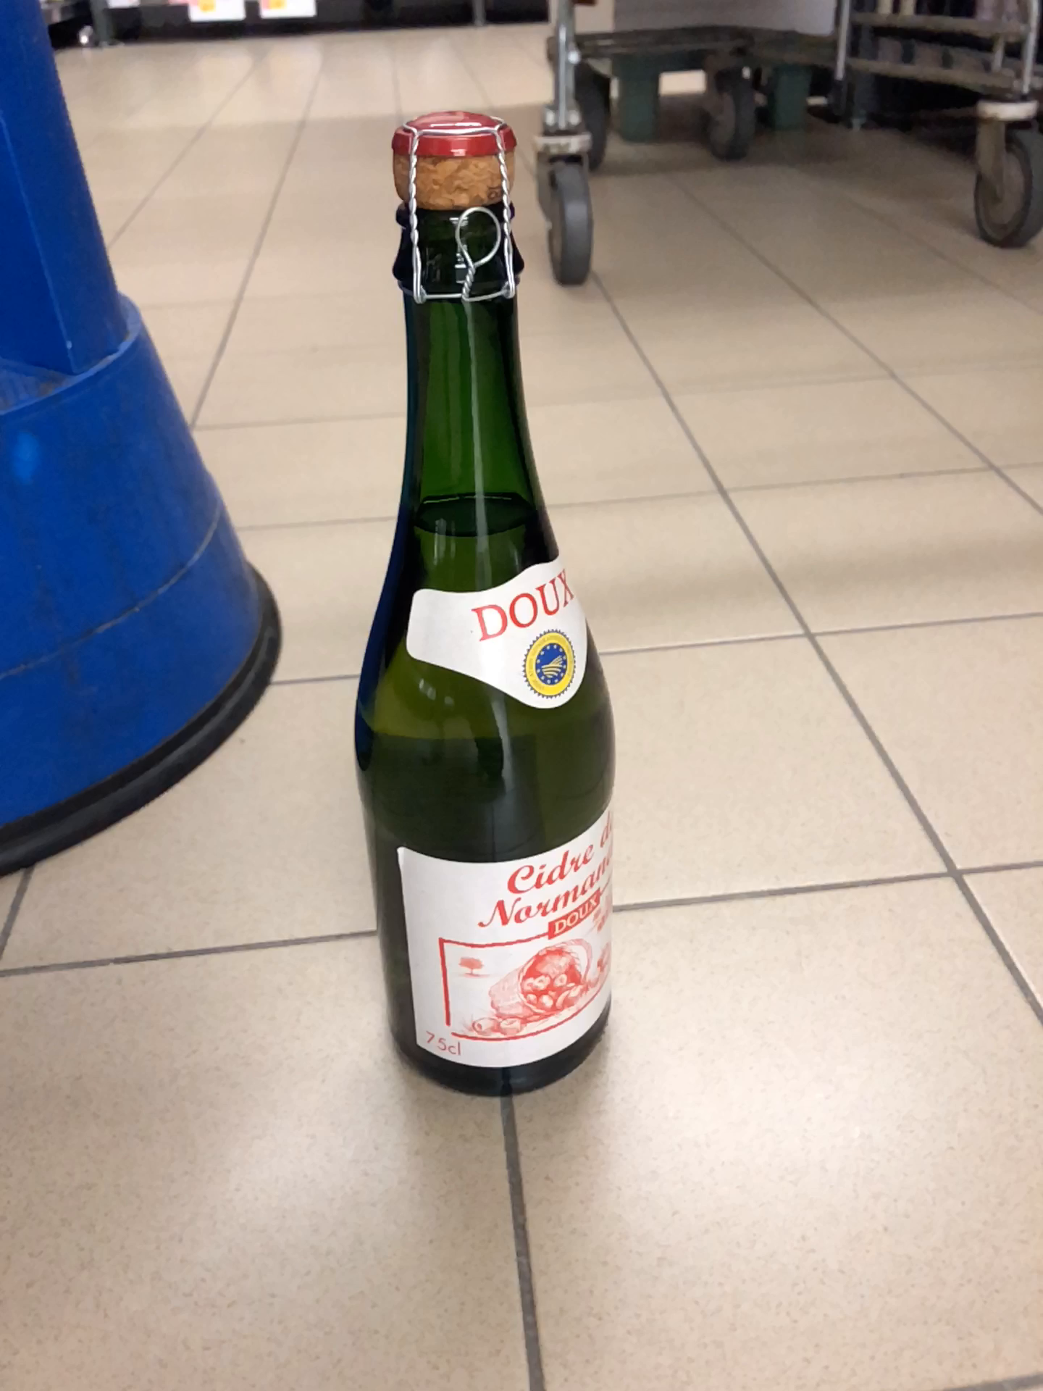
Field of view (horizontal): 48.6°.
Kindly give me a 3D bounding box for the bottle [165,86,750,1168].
[{"bbox_3d":[-0.012,-0.009,0.339,0.100,0.288,0.090,-21,38,-26],"label":"bottle"}]
